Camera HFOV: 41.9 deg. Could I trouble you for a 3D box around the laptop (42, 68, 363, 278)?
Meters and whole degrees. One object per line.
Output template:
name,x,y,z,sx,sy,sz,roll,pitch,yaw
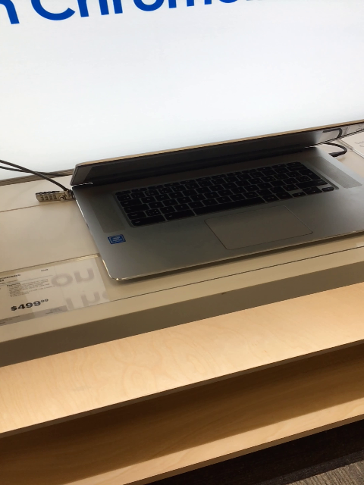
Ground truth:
laptop,0.061,-0.112,0.639,0.397,0.158,0.249,-13,38,-14
